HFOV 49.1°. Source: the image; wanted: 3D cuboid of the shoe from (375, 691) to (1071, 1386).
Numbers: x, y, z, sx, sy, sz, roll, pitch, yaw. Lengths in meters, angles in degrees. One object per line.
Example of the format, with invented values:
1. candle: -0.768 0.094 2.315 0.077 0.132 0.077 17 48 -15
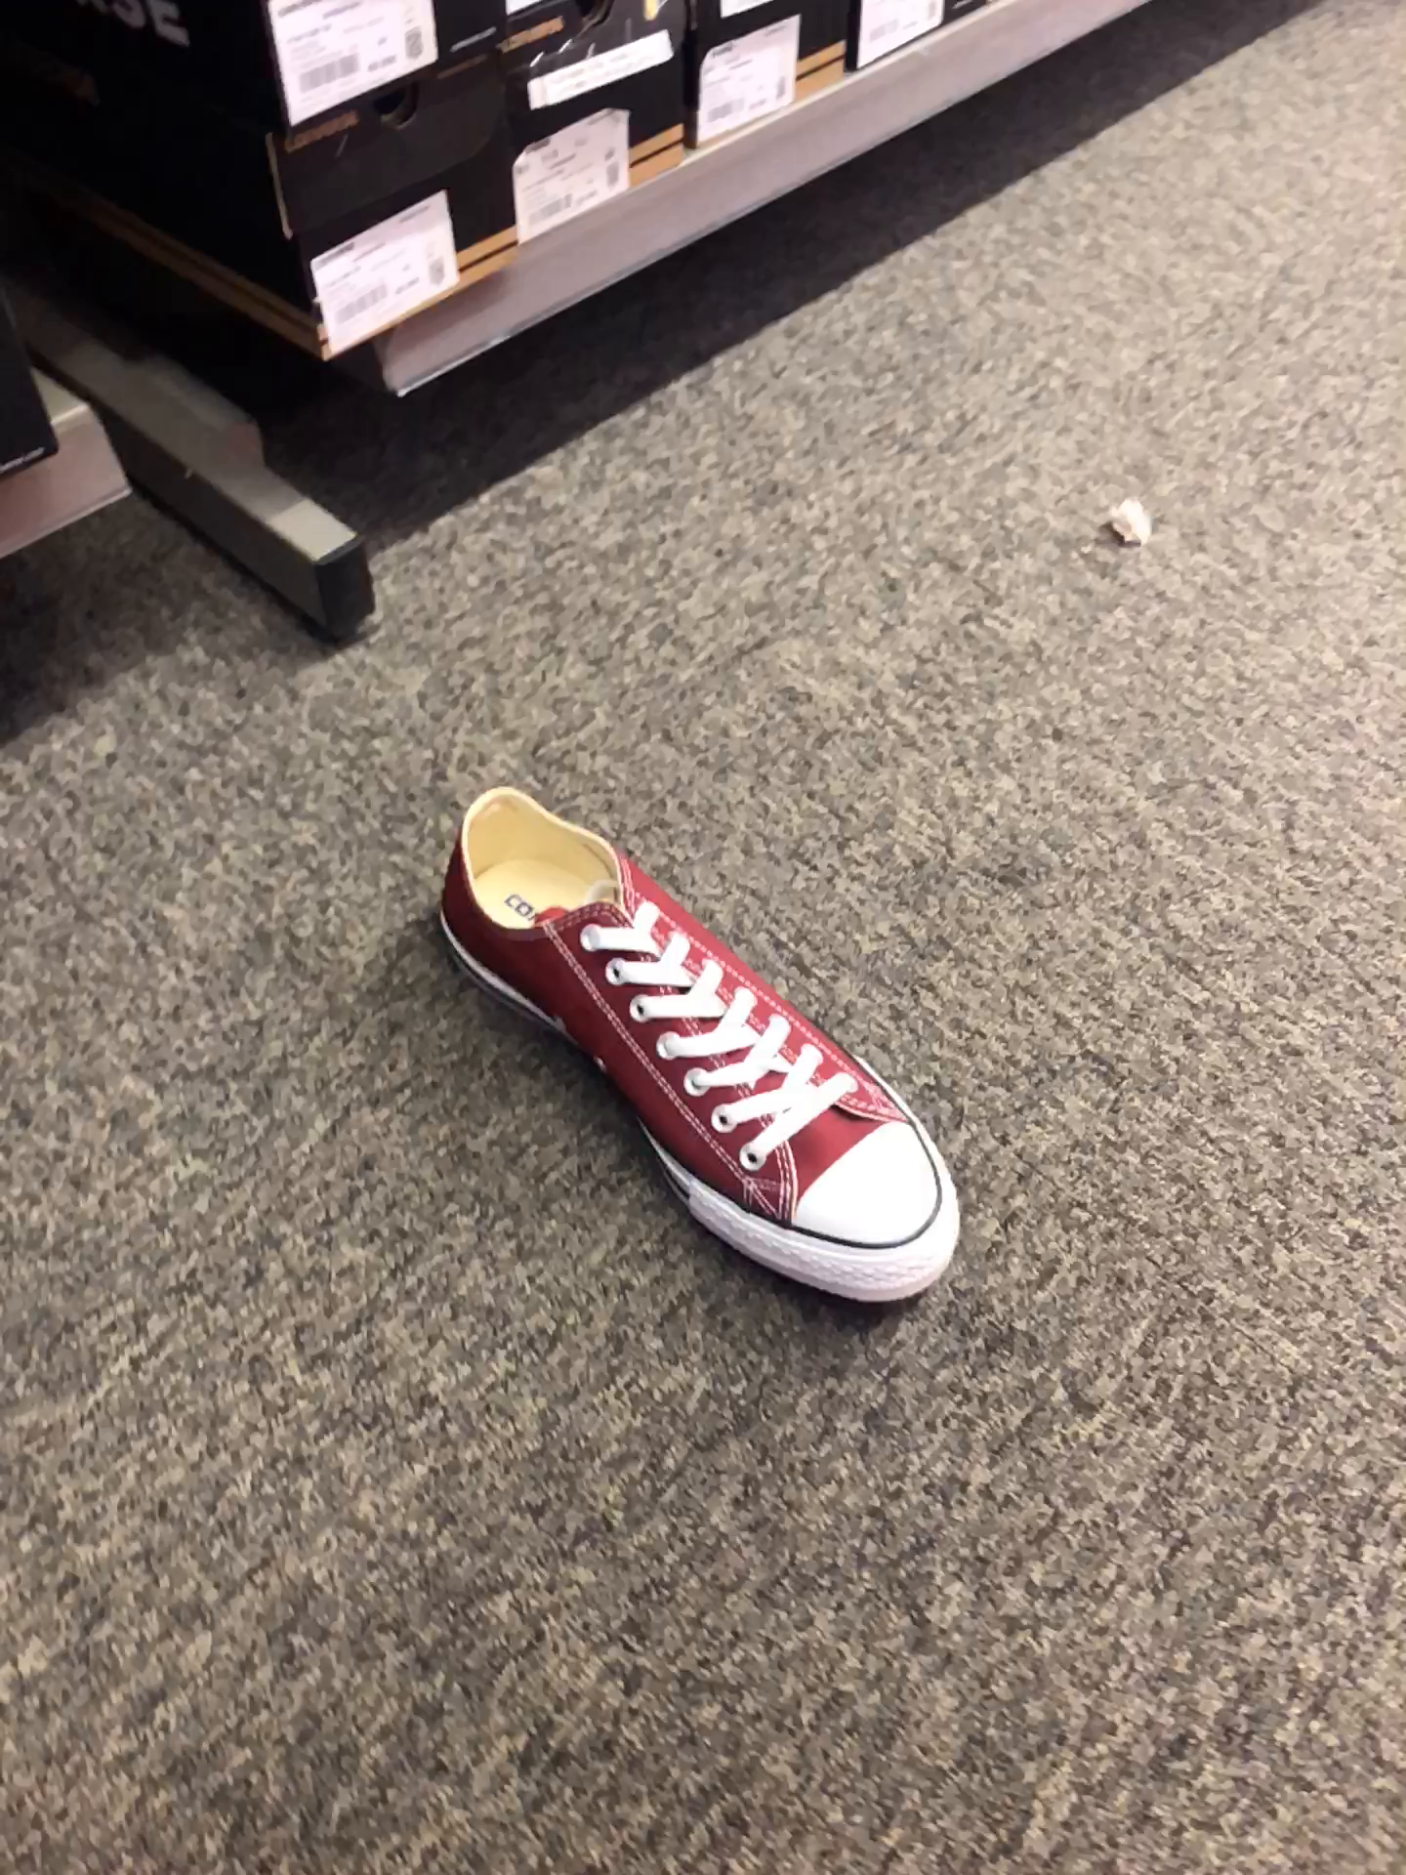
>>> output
1. shoe: -0.002 0.032 0.626 0.100 0.090 0.280 -37 64 -26
